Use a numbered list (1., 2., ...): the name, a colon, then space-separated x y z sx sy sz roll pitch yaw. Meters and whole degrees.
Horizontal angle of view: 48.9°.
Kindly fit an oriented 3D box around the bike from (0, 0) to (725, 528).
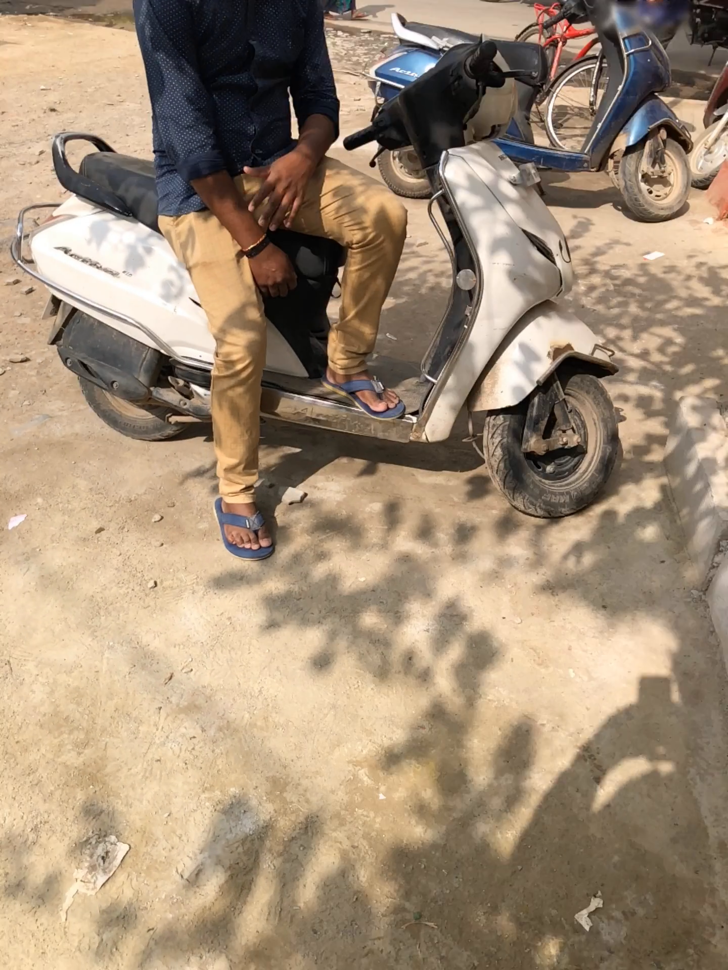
1. bike: -0.026 -0.650 2.224 1.591 1.186 0.626 10 40 10
